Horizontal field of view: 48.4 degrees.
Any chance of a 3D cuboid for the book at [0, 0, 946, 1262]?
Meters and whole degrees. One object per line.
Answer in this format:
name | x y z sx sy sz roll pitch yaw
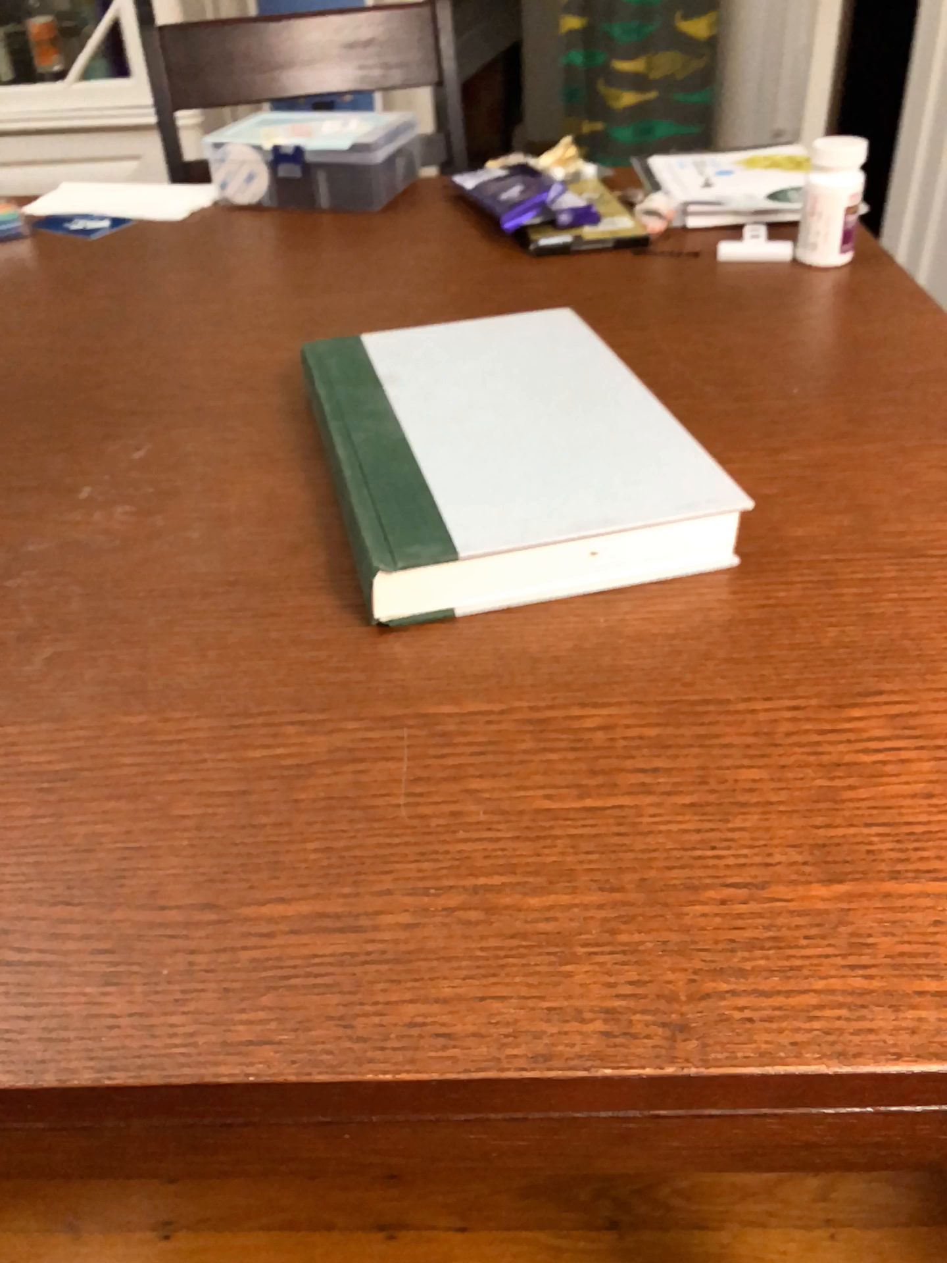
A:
book | 0.101 -0.241 0.076 1.002 0.994 1.004 -23 41 -24
